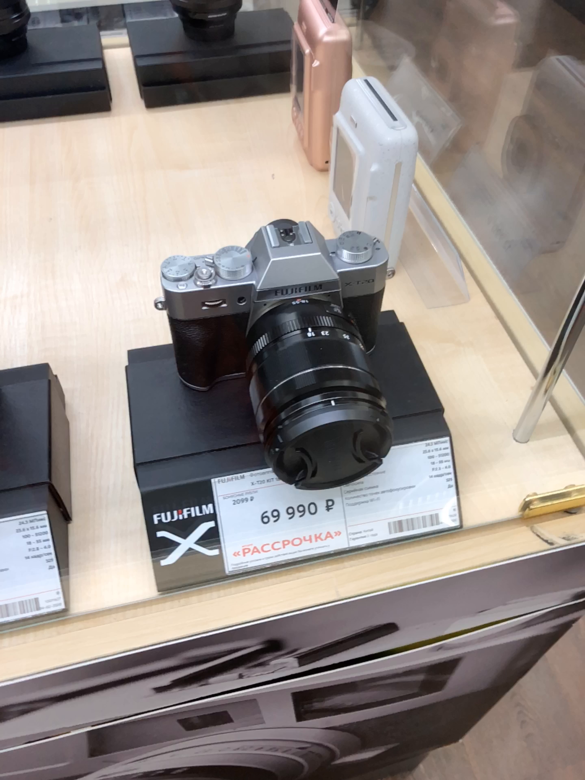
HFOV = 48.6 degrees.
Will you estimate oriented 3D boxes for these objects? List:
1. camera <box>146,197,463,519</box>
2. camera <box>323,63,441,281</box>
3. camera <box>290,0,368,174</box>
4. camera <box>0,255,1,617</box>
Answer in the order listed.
[{"bbox_3d":[-0.003,-0.021,0.331,0.123,0.080,0.131,-8,51,-8],"label":"camera"},{"bbox_3d":[0.058,-0.153,0.460,0.039,0.110,0.094,-11,51,-11],"label":"camera"},{"bbox_3d":[0.028,-0.270,0.564,0.043,0.118,0.101,-6,51,-6],"label":"camera"},{"bbox_3d":[-0.219,0.016,0.302,0.123,0.080,0.131,-8,51,-8],"label":"camera"}]
